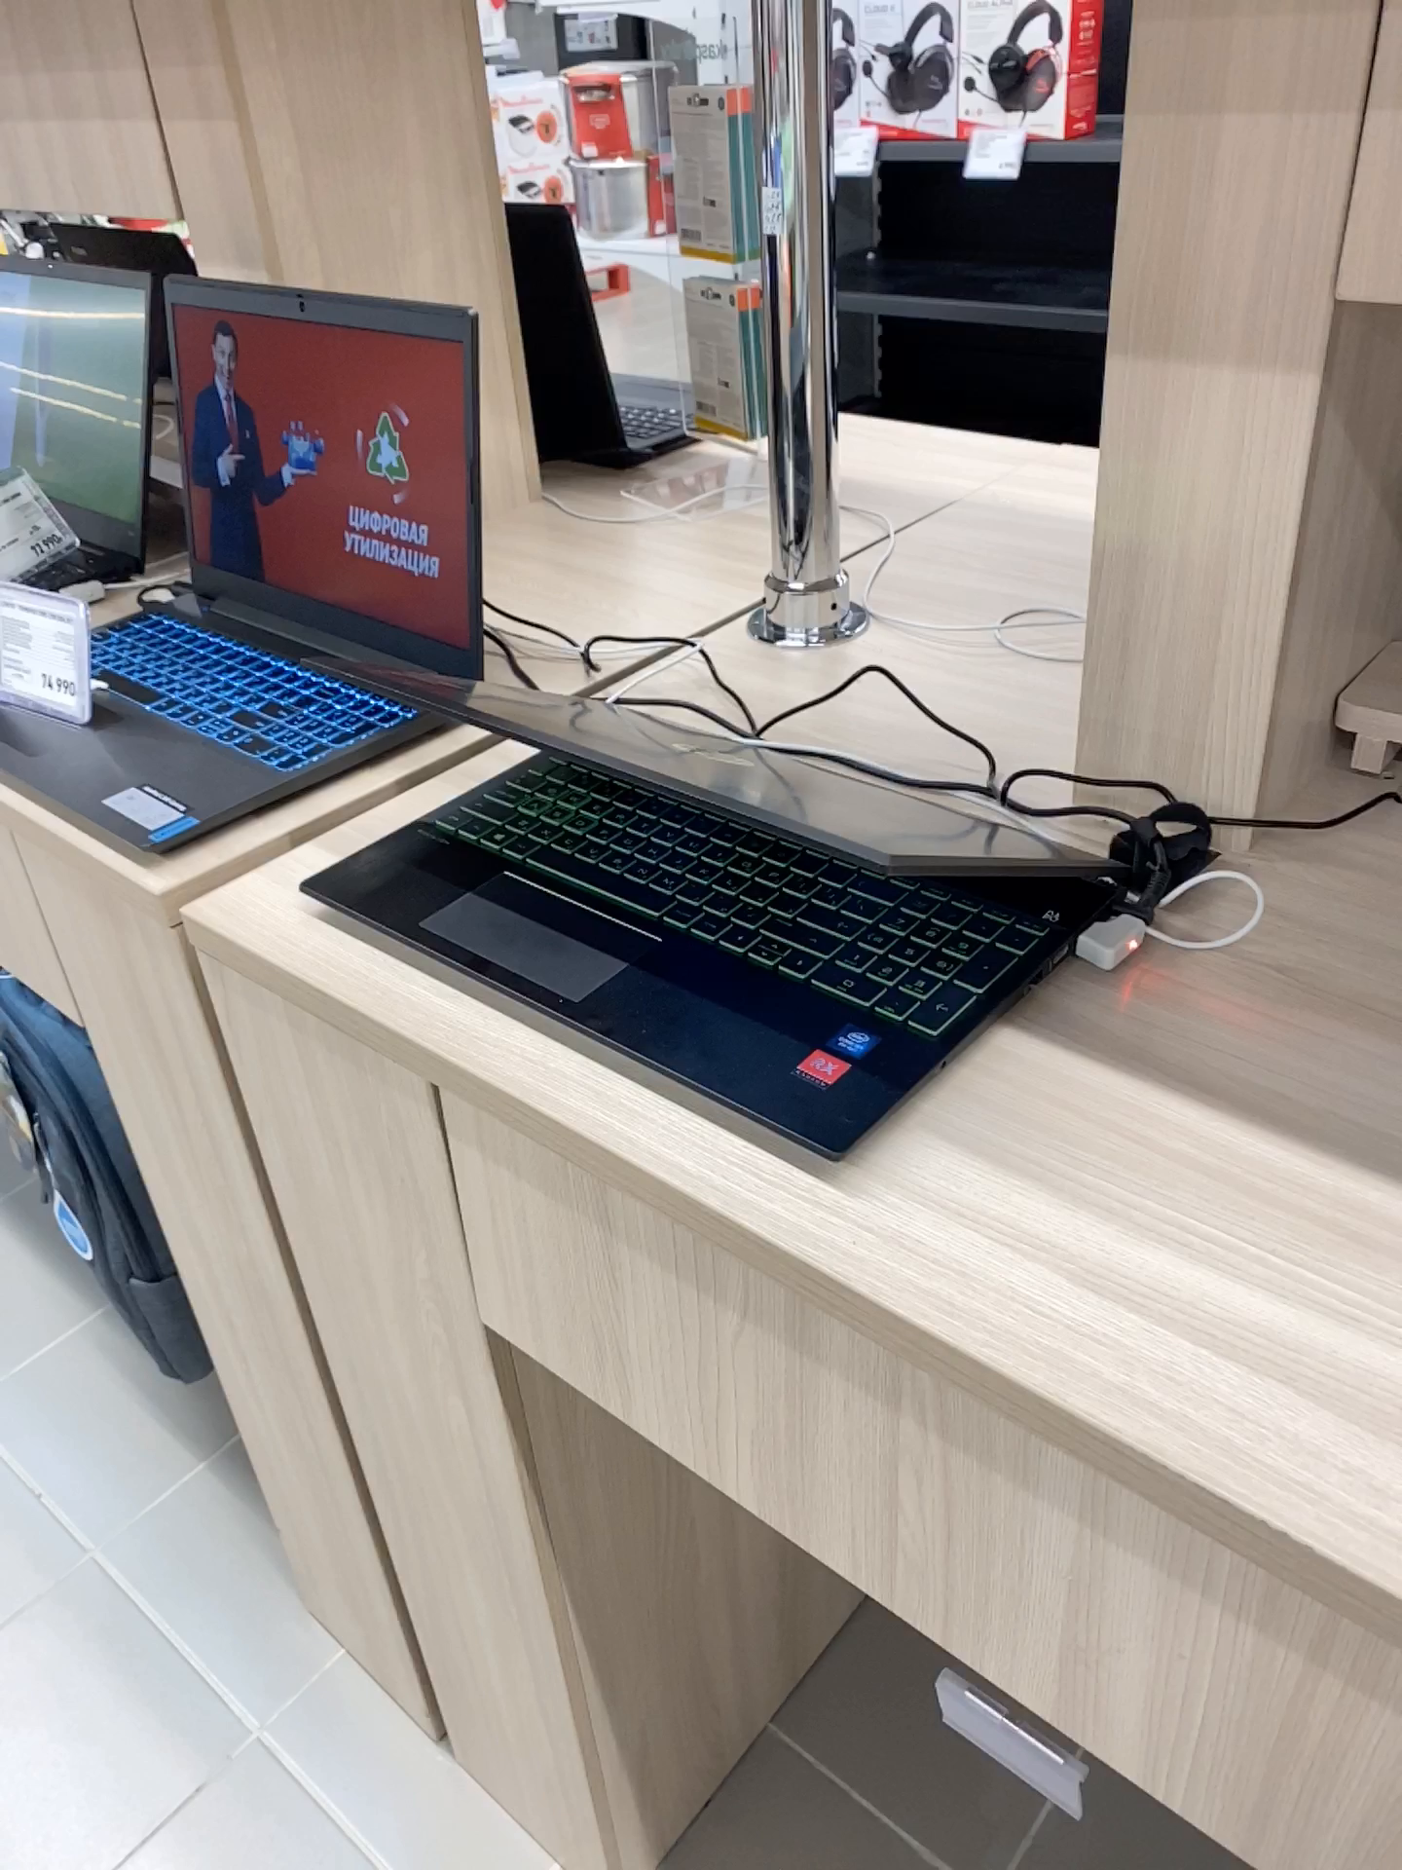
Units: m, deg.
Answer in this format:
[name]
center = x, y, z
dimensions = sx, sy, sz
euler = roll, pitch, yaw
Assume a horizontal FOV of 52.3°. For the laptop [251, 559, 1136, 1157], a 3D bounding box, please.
[laptop]
center = -0.011, -0.069, 0.715
dimensions = 0.365, 0.108, 0.235
euler = 22, 42, 35
